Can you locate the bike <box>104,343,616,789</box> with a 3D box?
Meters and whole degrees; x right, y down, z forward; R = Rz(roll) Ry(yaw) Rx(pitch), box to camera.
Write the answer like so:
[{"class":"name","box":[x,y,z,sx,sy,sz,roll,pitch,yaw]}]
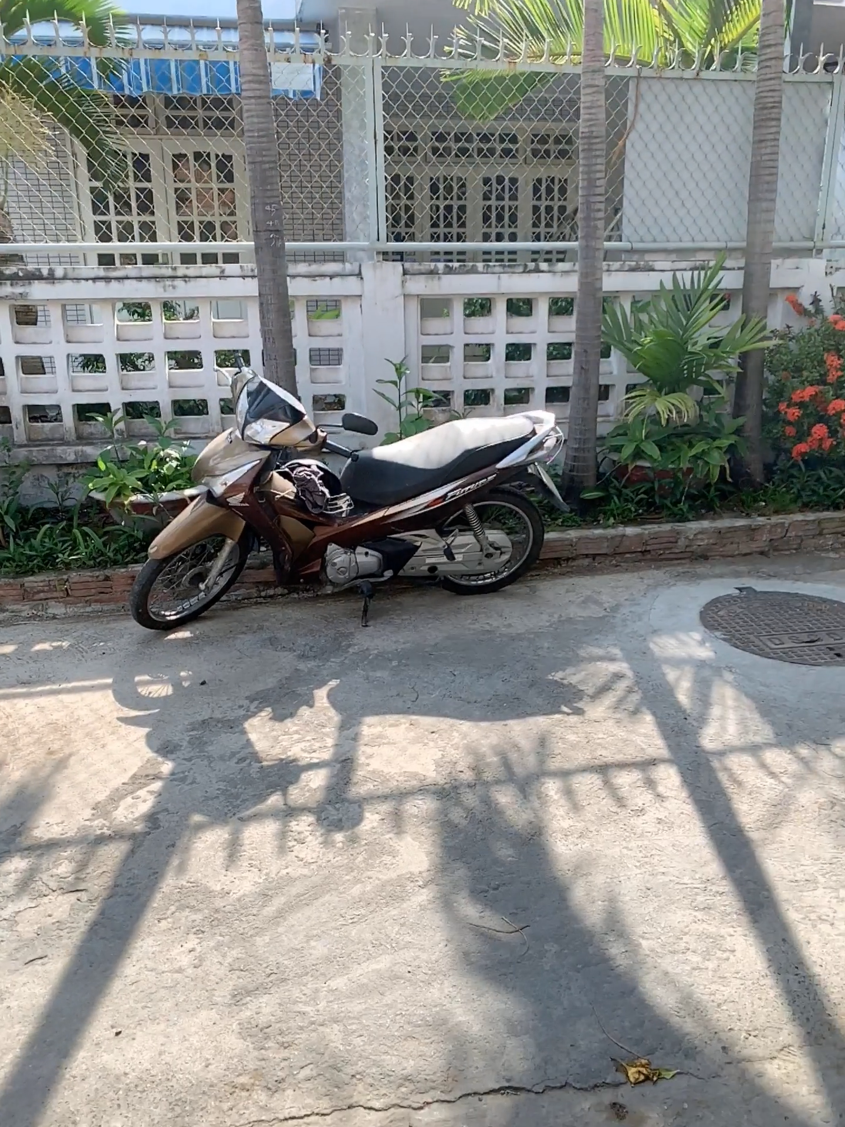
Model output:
[{"class":"bike","box":[-0.191,-0.113,3.595,1.976,1.442,0.614,-9,19,-23]}]
